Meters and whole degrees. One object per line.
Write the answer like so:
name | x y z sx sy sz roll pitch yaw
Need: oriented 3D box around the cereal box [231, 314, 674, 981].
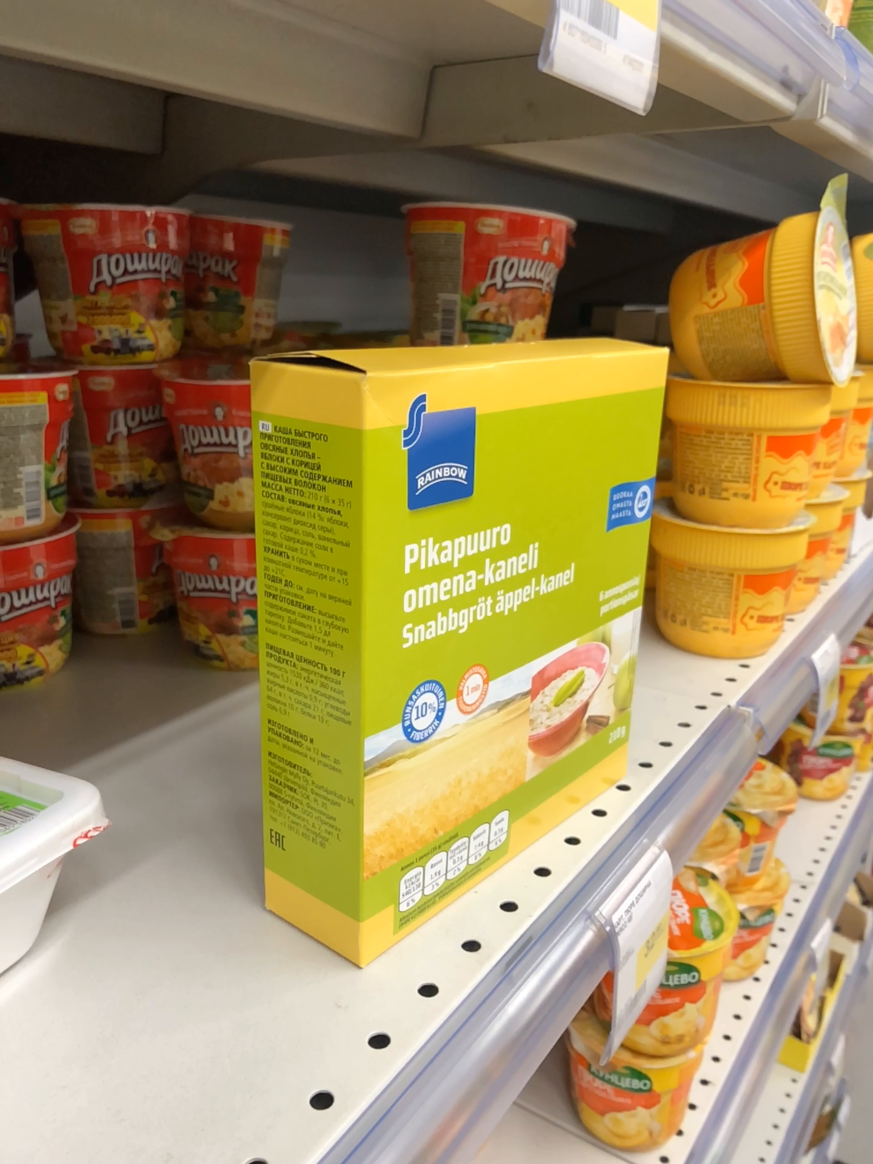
cereal box | 0.014 0.005 0.341 0.050 0.189 0.170 14 21 37
